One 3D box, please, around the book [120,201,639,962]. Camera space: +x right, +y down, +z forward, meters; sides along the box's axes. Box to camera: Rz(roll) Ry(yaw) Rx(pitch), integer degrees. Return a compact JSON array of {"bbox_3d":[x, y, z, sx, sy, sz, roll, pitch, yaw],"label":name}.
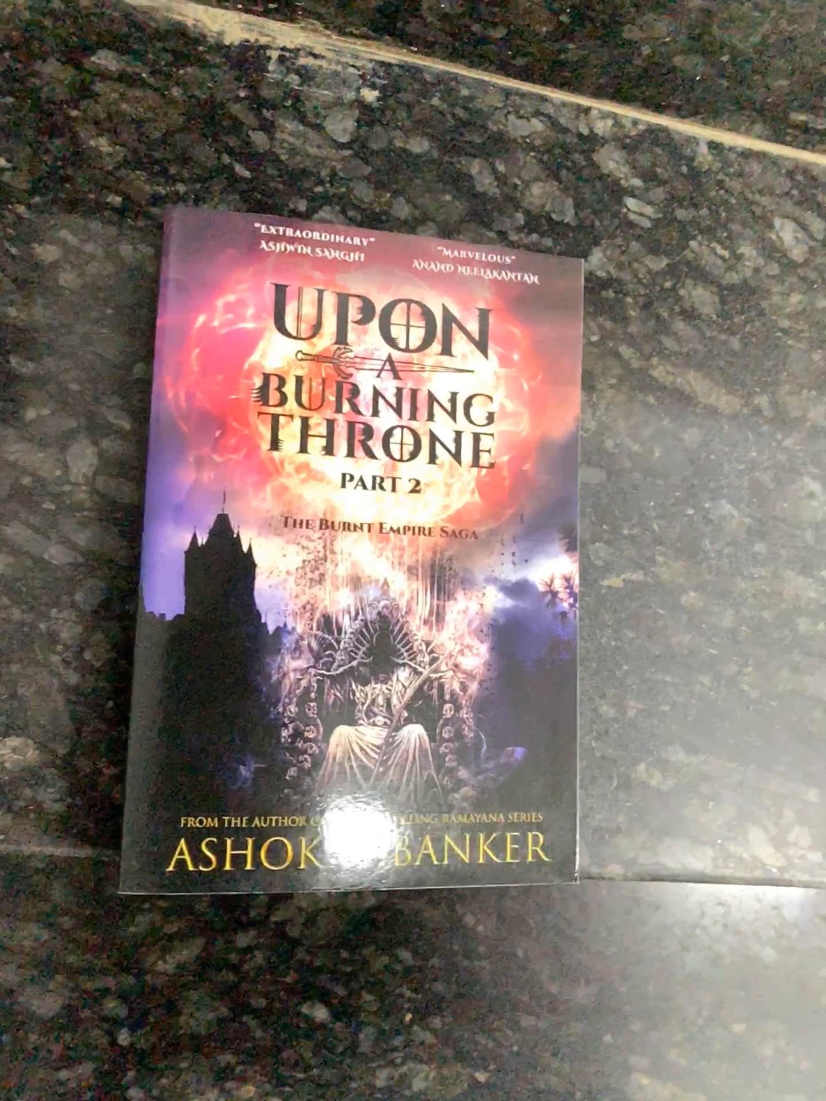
[{"bbox_3d":[-0.006,0.007,0.255,0.140,0.030,0.200,3,82,-13],"label":"book"}]
